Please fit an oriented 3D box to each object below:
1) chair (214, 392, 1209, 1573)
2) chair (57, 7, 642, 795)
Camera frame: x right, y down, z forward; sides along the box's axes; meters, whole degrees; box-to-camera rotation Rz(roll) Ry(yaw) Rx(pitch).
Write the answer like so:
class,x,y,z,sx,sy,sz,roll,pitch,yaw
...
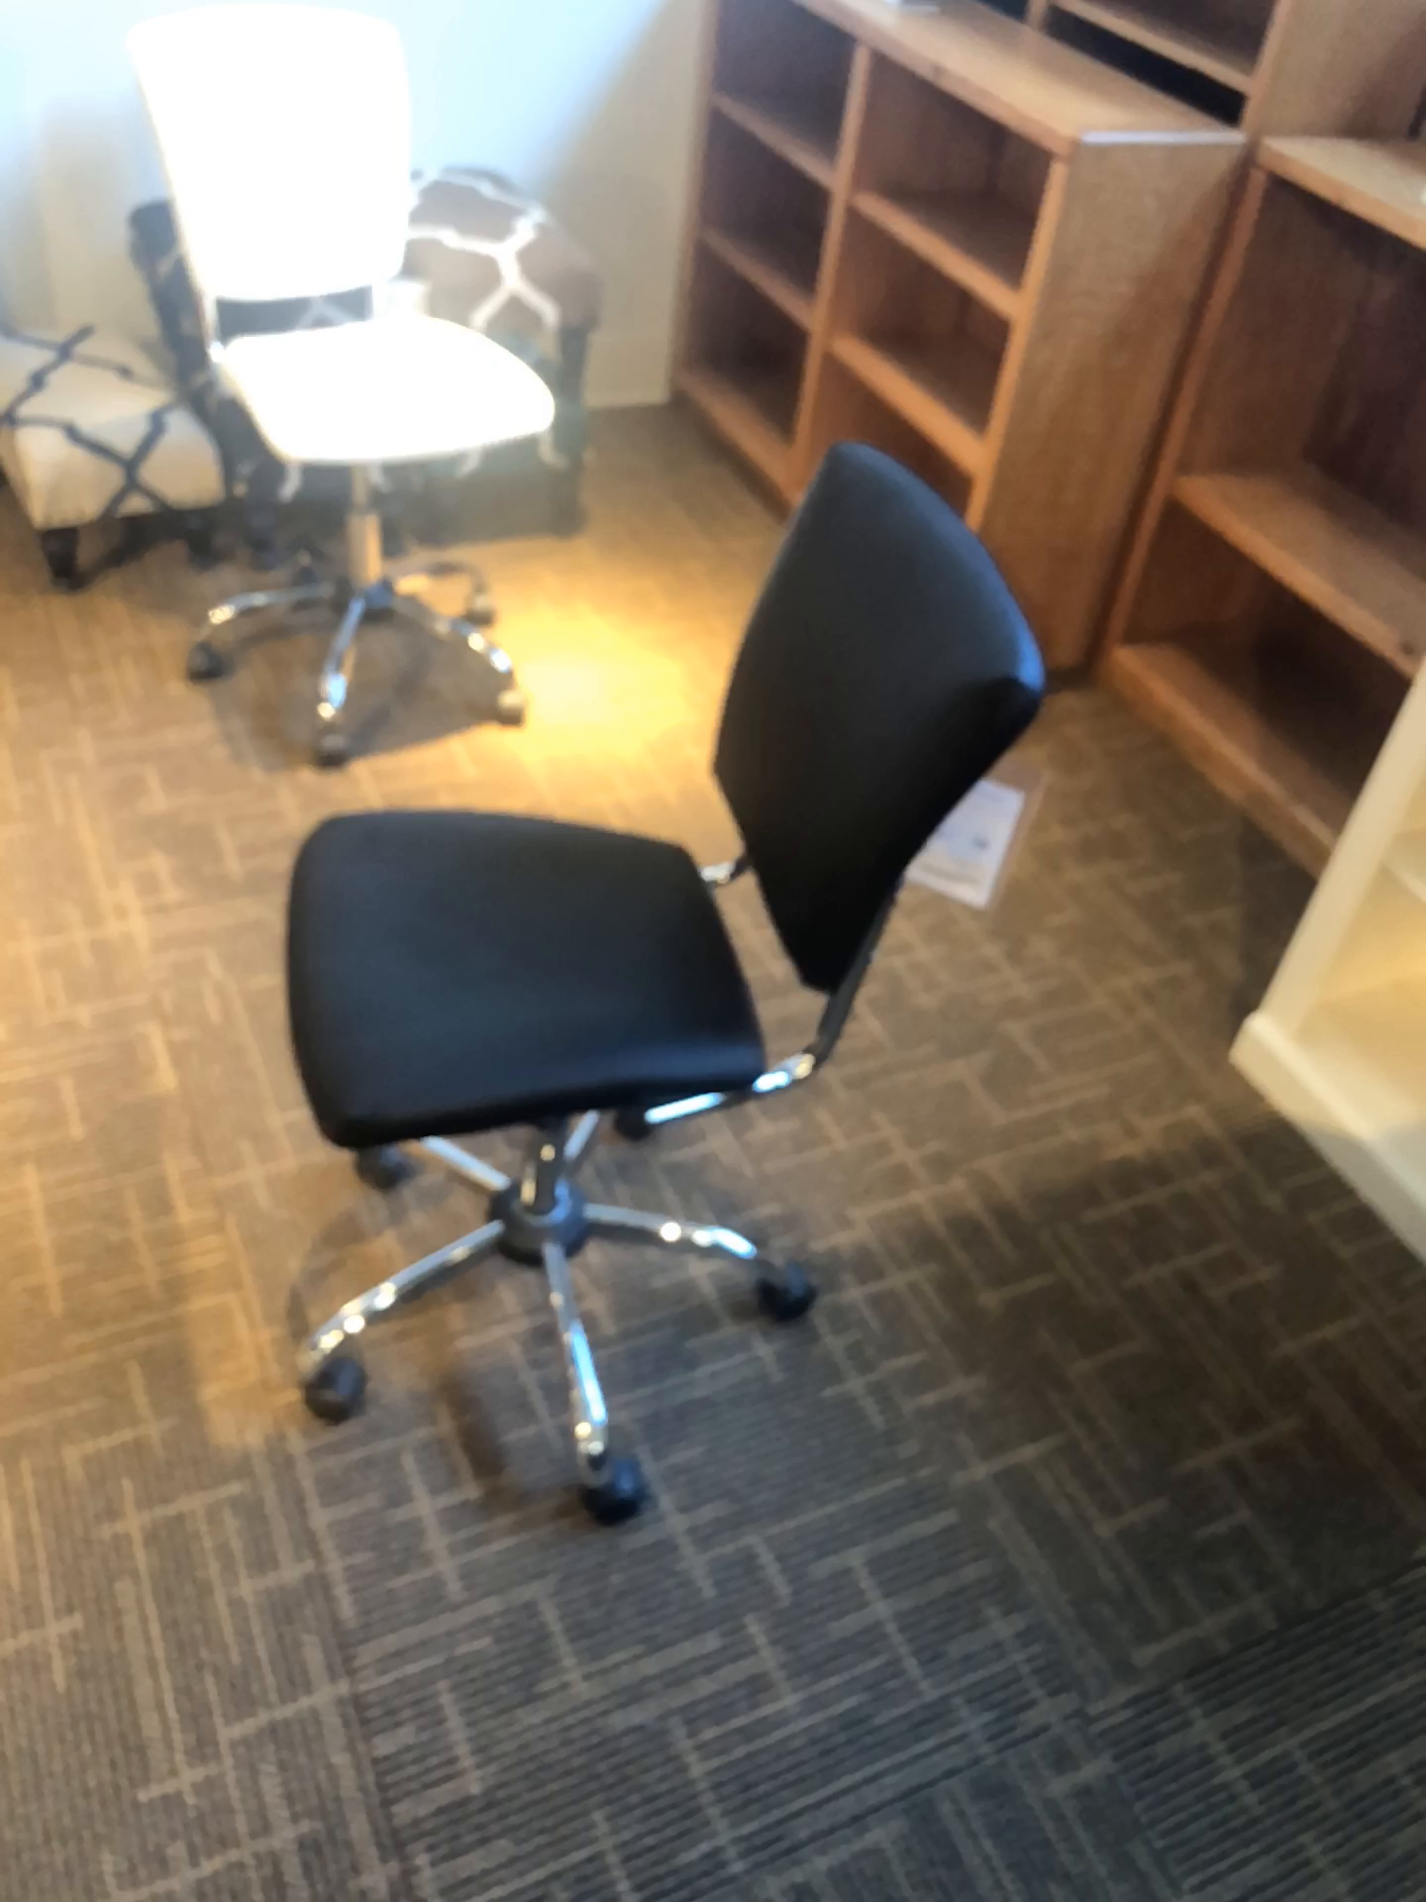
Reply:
class,x,y,z,sx,sy,sz,roll,pitch,yaw
chair,-0.088,0.030,1.419,0.608,0.826,0.576,-4,42,-14
chair,-0.547,-0.841,2.427,0.584,0.916,0.609,-17,47,-27
